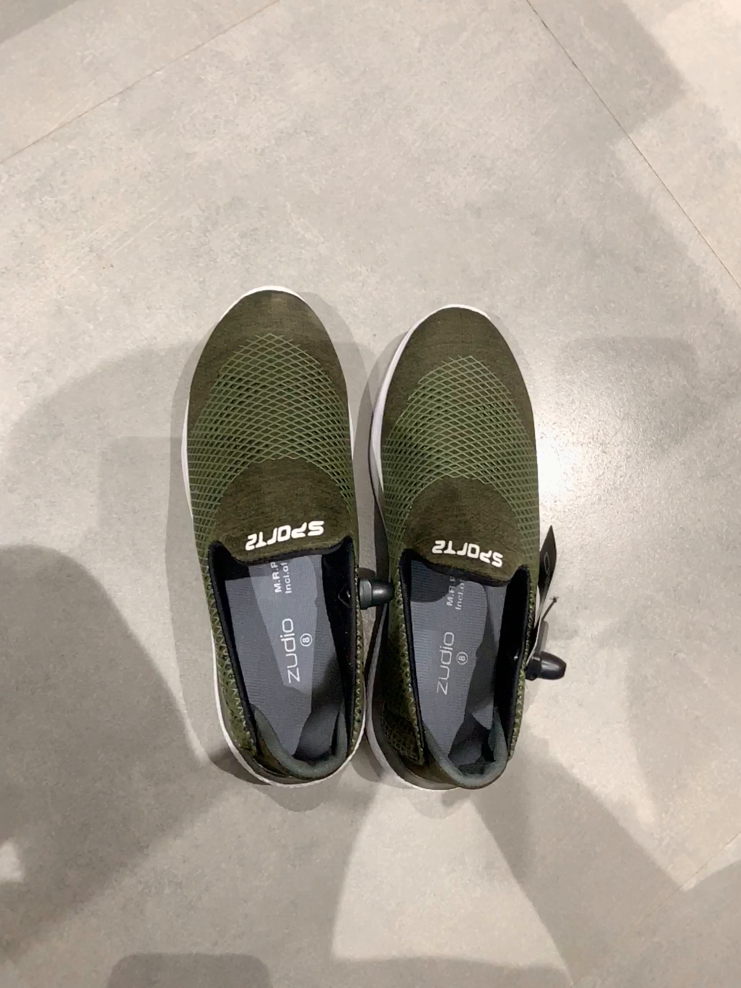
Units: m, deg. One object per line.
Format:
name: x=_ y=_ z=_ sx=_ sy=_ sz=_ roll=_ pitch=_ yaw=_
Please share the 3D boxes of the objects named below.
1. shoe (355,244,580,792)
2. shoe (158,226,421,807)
shoe: x=0.049 y=0.012 z=0.443 sx=0.100 sy=0.100 sz=0.280 roll=0 pitch=85 yaw=-8
shoe: x=-0.047 y=0.009 z=0.427 sx=0.100 sy=0.100 sz=0.280 roll=-6 pitch=86 yaw=-8
